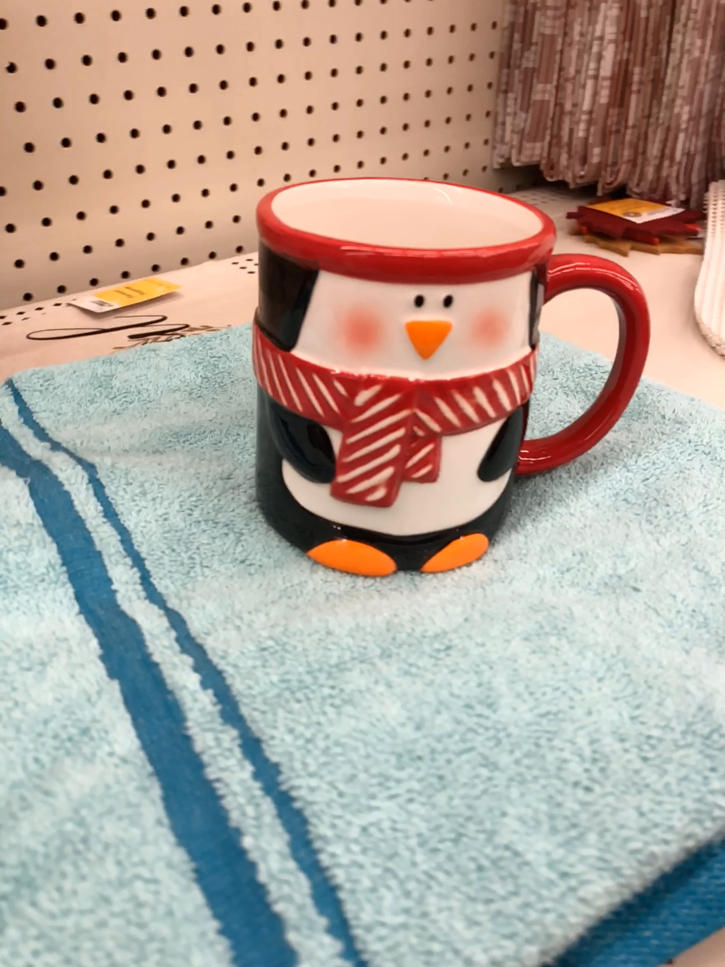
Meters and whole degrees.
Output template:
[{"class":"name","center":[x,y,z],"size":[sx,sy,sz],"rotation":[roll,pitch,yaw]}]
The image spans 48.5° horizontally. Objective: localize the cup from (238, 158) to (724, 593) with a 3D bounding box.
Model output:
[{"class":"cup","center":[0.028,-0.040,0.265],"size":[0.130,0.110,0.090],"rotation":[-3,32,-9]}]
